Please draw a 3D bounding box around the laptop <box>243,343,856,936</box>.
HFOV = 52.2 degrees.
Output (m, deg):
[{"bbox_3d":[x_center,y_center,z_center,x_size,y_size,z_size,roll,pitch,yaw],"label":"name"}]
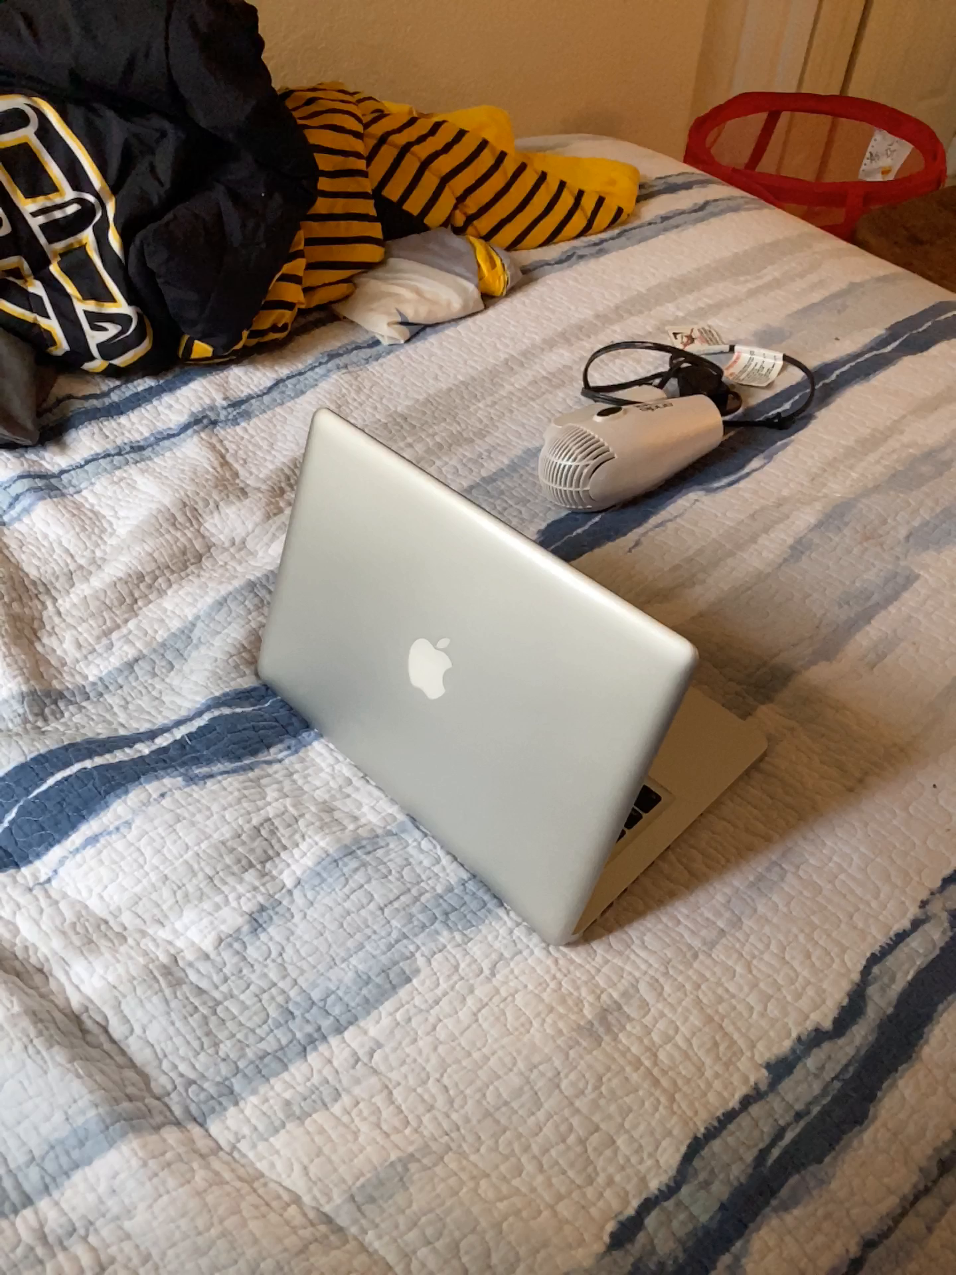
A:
[{"bbox_3d":[0.033,-0.016,0.654,0.215,0.188,0.301,-34,56,-29],"label":"laptop"}]
